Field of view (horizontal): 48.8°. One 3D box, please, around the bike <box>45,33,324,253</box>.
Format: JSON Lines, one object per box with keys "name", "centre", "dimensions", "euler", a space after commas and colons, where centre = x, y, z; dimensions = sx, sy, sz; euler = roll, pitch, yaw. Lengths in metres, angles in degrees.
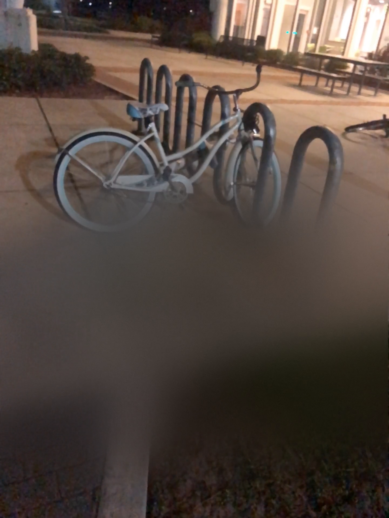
{"name": "bike", "centre": [-0.090, -0.889, 2.919], "dimensions": [1.680, 1.094, 0.743], "euler": [-11, 32, -22]}
